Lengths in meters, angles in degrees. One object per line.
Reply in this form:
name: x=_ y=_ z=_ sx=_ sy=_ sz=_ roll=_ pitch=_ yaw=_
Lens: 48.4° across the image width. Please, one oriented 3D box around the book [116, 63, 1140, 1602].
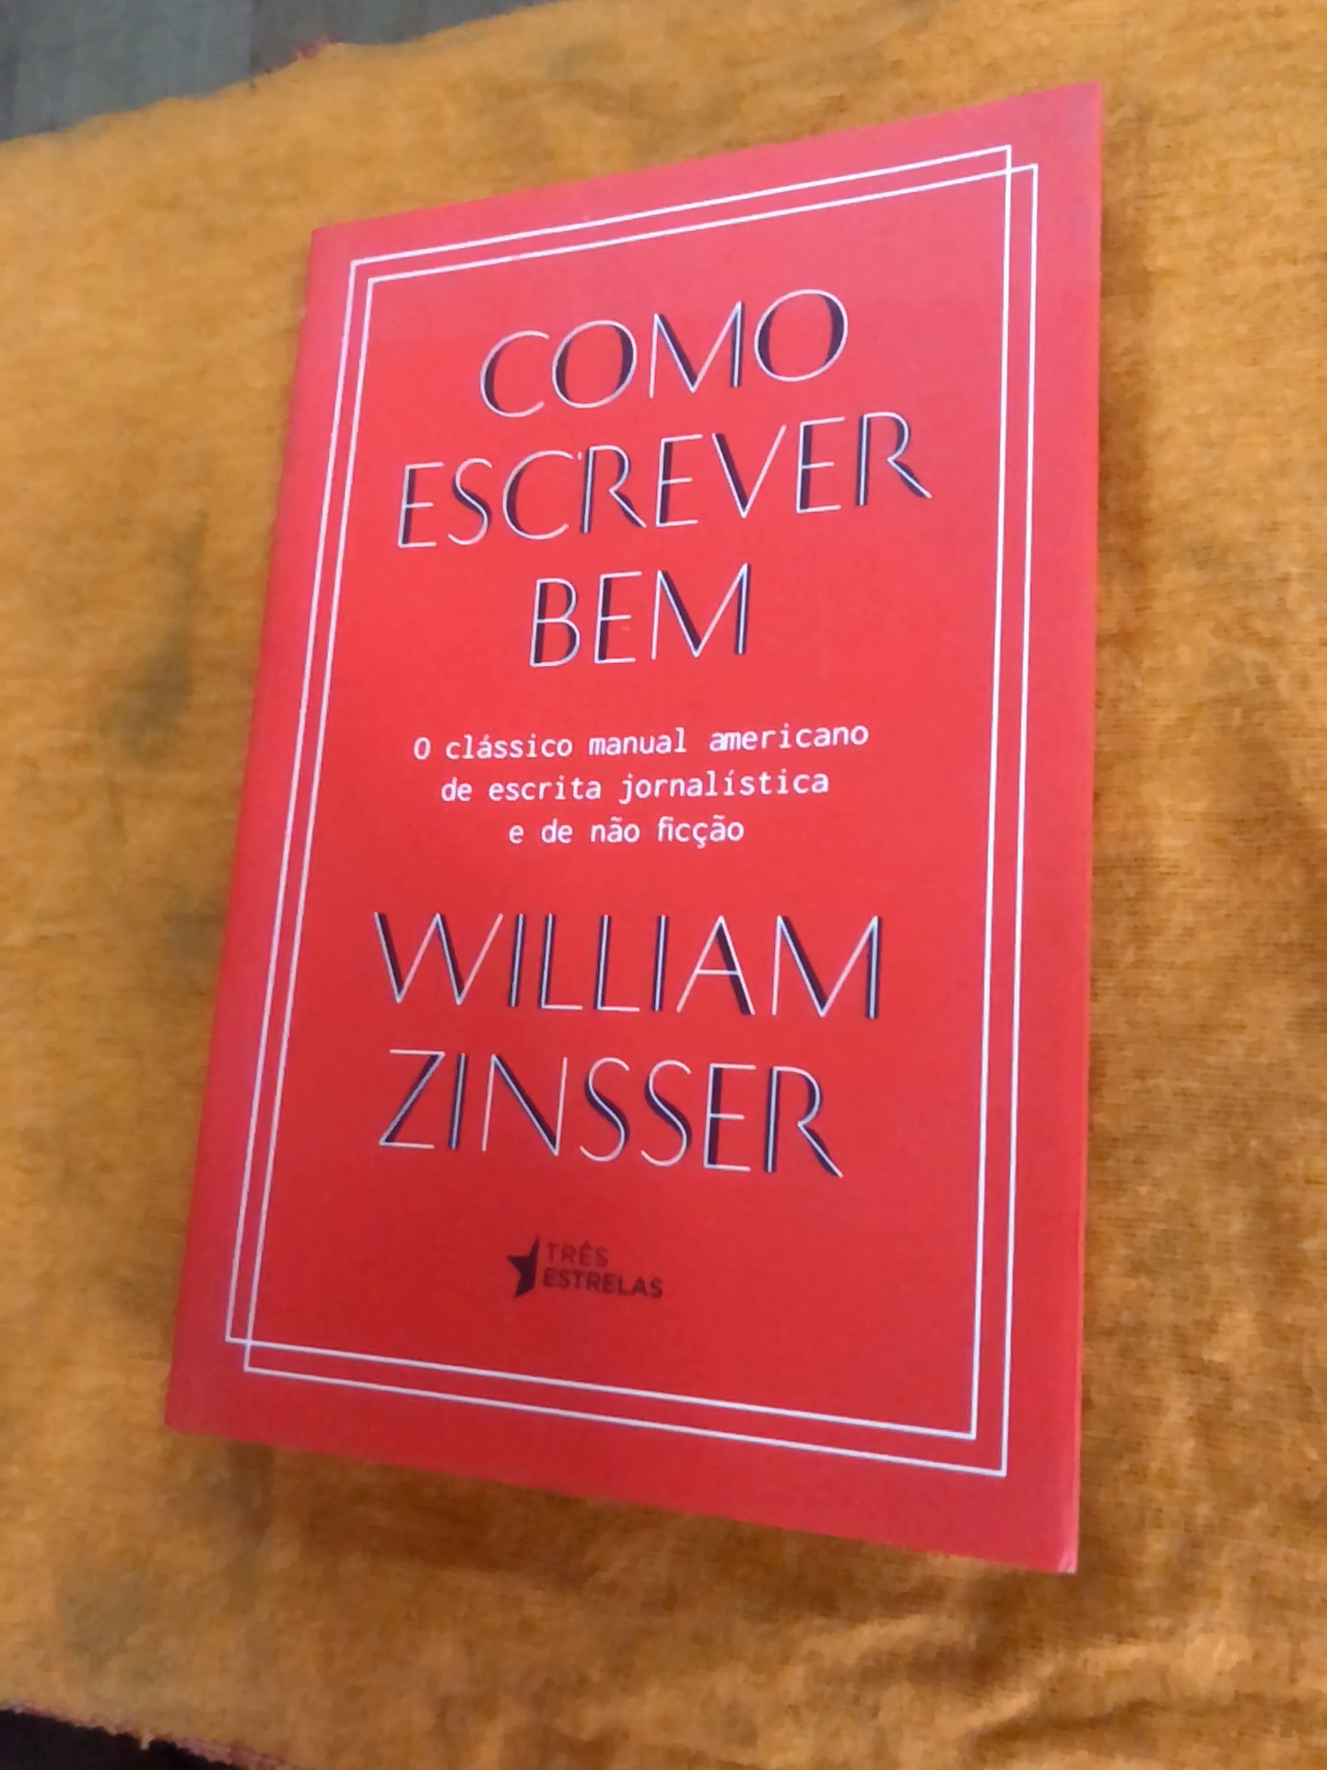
book: x=-0.005 y=-0.014 z=0.218 sx=0.140 sy=0.020 sz=0.195 roll=0 pitch=79 yaw=22
